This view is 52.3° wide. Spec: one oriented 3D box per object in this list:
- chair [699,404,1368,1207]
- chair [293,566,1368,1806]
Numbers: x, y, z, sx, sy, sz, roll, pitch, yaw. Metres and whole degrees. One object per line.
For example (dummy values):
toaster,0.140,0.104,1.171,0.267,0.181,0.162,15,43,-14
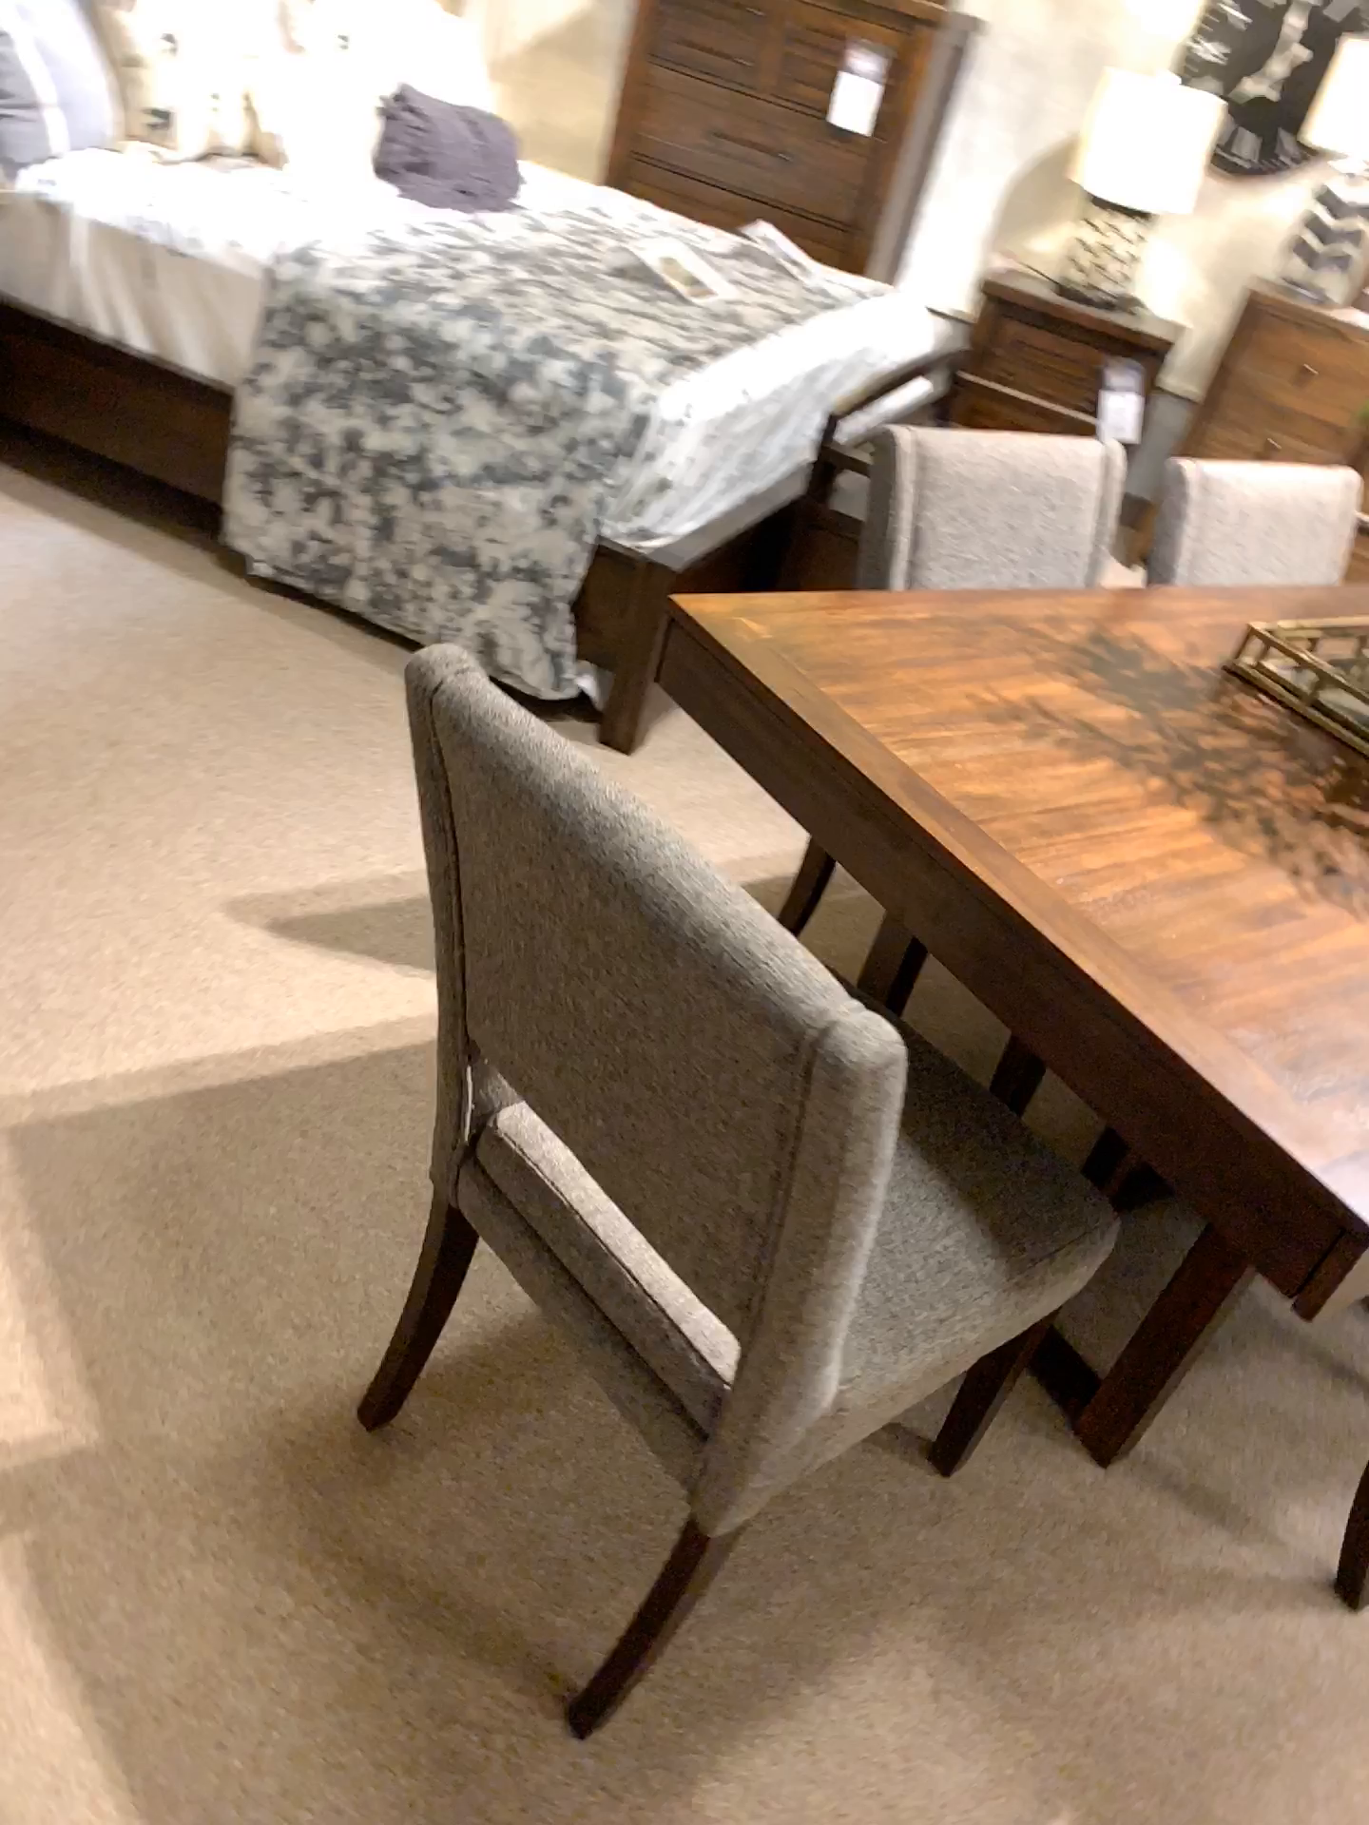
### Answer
chair,0.489,-0.166,1.982,0.480,0.863,0.632,-11,42,-34
chair,0.080,0.210,1.271,0.632,0.863,0.480,-16,46,-39
